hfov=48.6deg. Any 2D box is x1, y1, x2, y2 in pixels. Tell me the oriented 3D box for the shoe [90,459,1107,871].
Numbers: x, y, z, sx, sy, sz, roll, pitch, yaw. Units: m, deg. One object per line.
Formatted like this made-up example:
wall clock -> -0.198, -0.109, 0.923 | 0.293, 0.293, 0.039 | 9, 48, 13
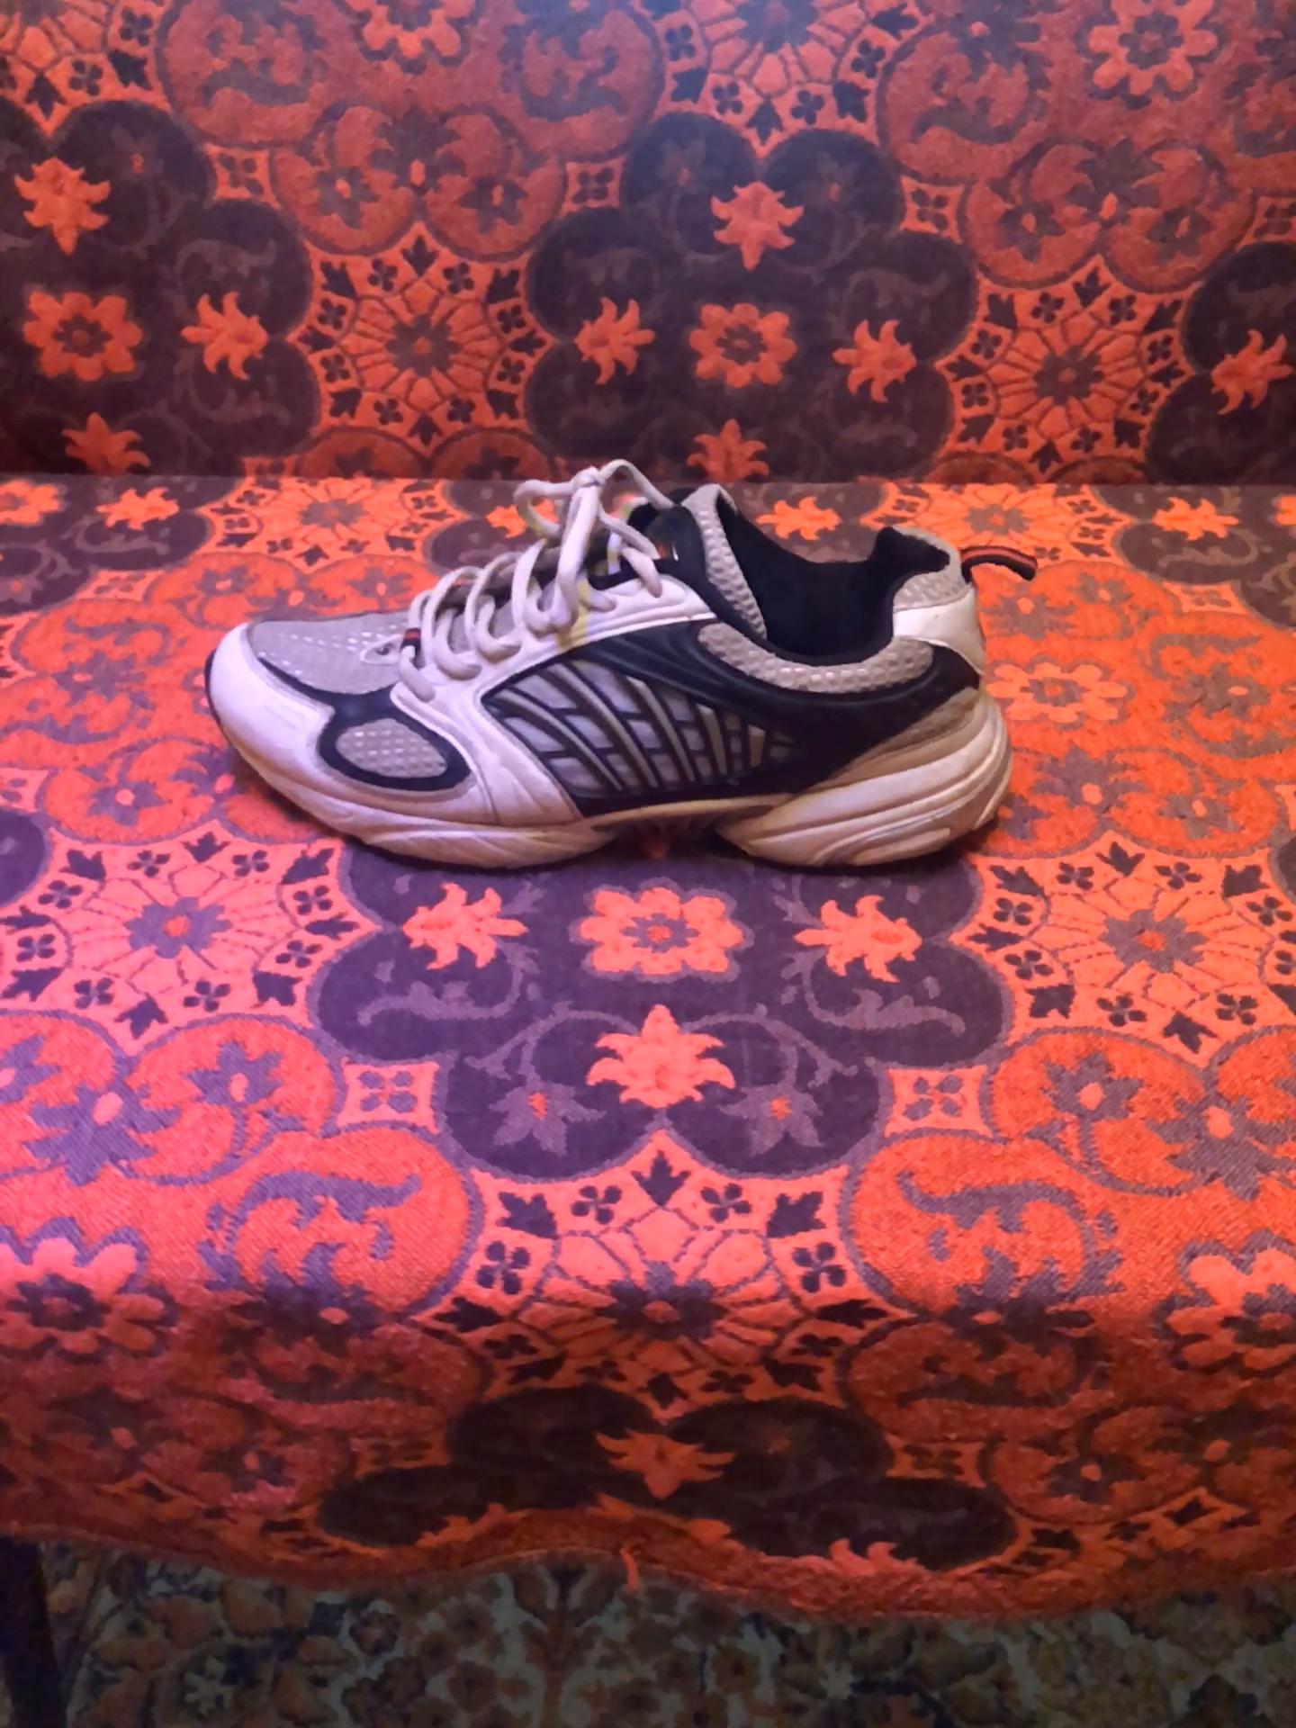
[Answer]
shoe -> -0.015, -0.074, 0.512 | 0.310, 0.090, 0.121 | 1, 39, 1
